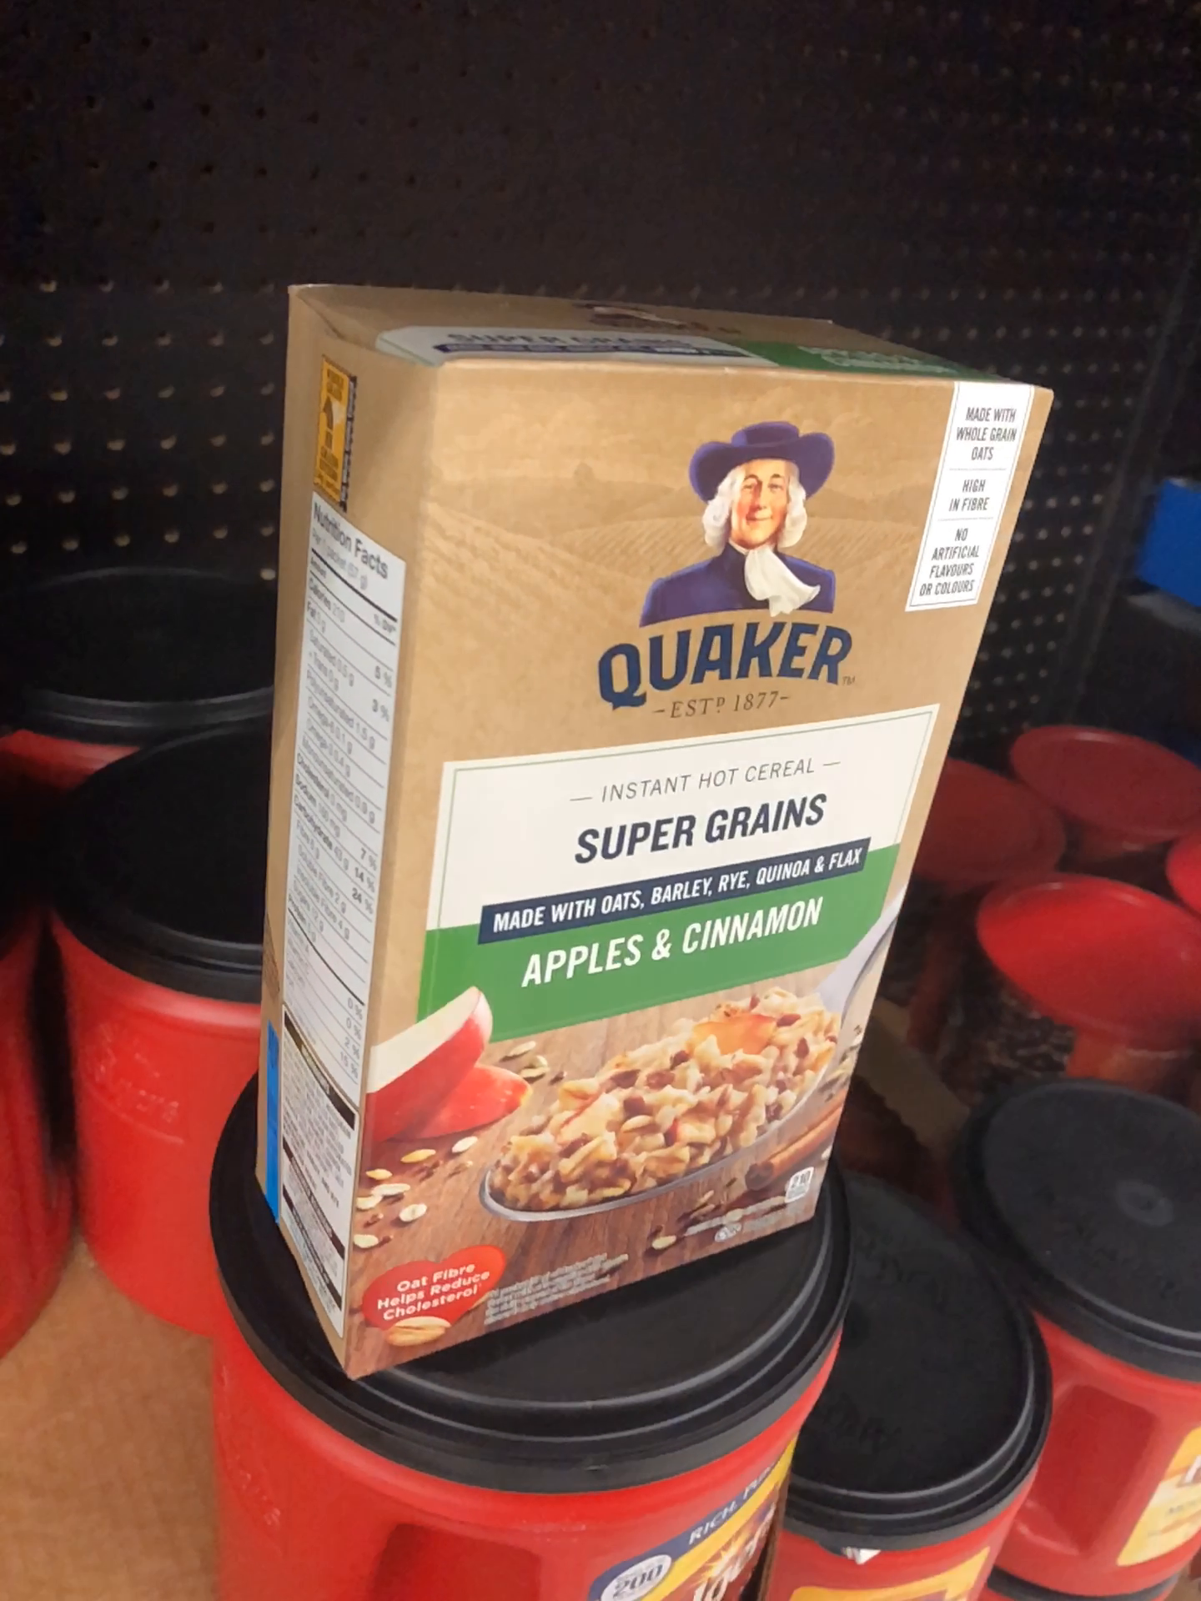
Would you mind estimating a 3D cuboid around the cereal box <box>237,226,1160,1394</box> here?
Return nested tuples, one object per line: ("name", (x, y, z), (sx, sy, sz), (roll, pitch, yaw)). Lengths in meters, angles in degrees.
("cereal box", (0.007, 0.004, 0.265), (0.140, 0.199, 0.060), (-8, 33, -28))
